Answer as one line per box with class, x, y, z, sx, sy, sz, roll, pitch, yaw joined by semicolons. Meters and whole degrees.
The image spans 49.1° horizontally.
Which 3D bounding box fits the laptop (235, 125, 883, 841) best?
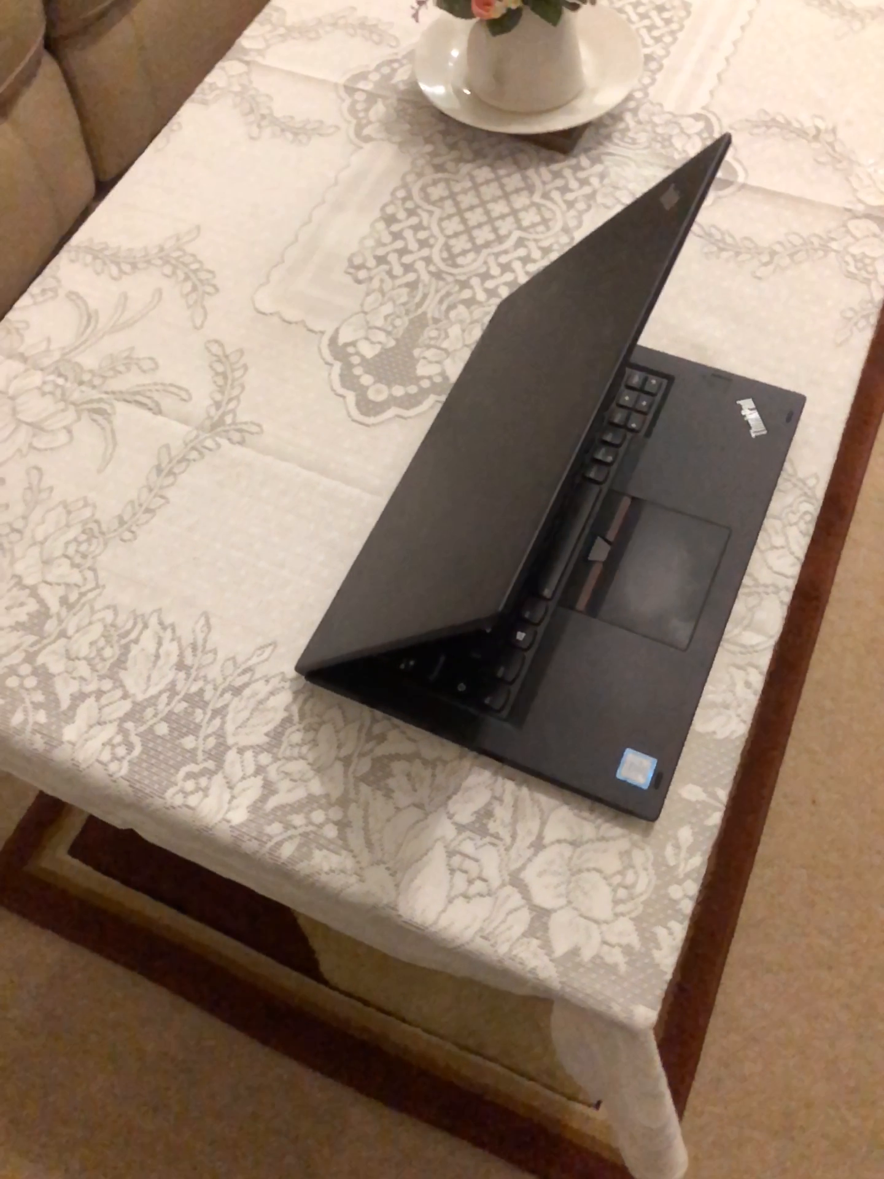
laptop;0.076;-0.064;0.558;0.220;0.174;0.309;22;66;14
